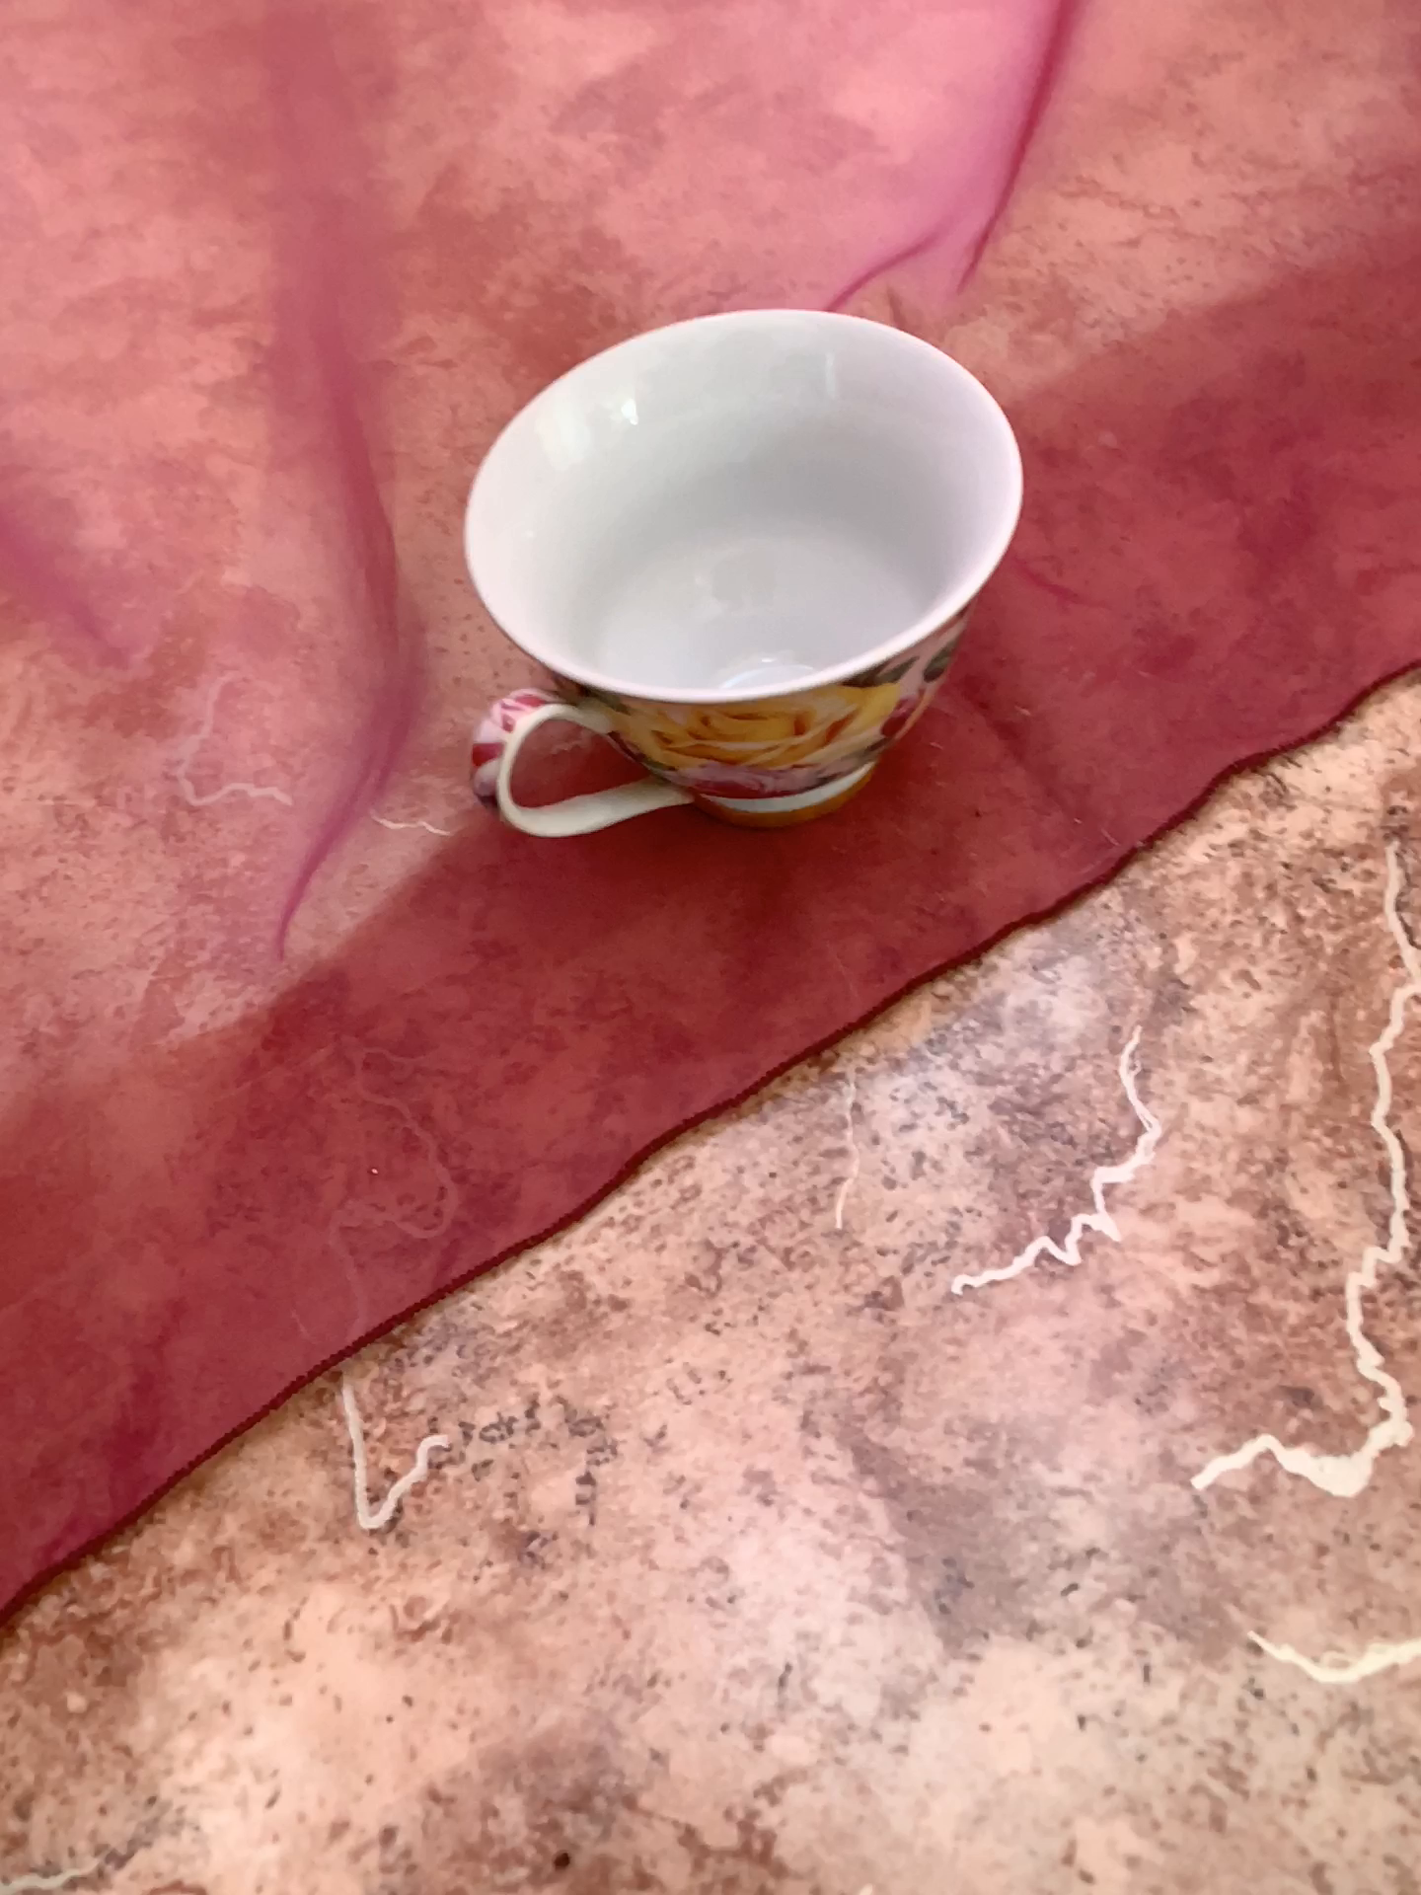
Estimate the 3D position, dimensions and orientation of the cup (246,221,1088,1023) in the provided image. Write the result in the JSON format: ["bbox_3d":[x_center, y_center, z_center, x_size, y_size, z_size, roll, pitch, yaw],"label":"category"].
[{"bbox_3d":[-0.005,-0.059,0.256,0.109,0.061,0.078,-35,60,-13],"label":"cup"}]
